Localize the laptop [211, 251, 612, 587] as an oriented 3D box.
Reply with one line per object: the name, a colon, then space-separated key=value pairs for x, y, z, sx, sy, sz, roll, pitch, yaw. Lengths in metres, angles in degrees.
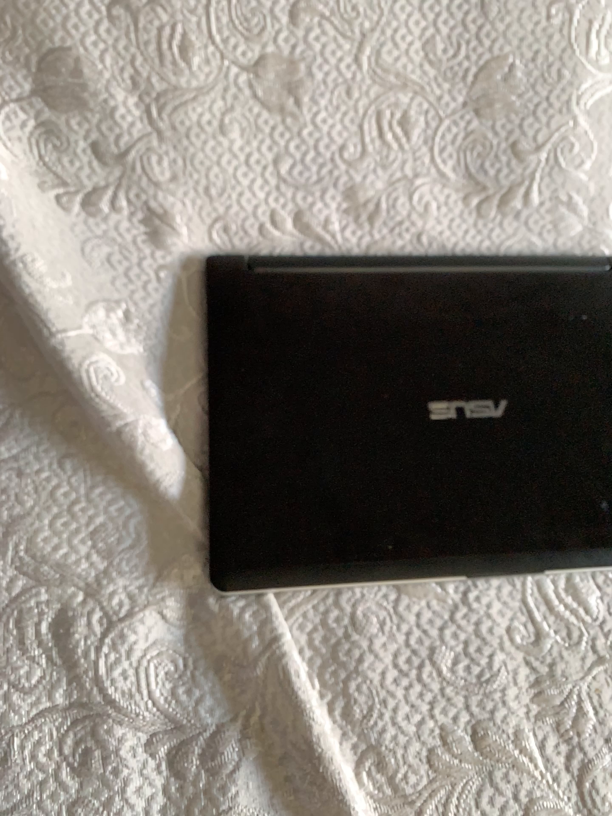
laptop: x=0.107 y=-0.011 z=0.425 sx=0.334 sy=0.001 sz=0.233 roll=-1 pitch=63 yaw=-9
